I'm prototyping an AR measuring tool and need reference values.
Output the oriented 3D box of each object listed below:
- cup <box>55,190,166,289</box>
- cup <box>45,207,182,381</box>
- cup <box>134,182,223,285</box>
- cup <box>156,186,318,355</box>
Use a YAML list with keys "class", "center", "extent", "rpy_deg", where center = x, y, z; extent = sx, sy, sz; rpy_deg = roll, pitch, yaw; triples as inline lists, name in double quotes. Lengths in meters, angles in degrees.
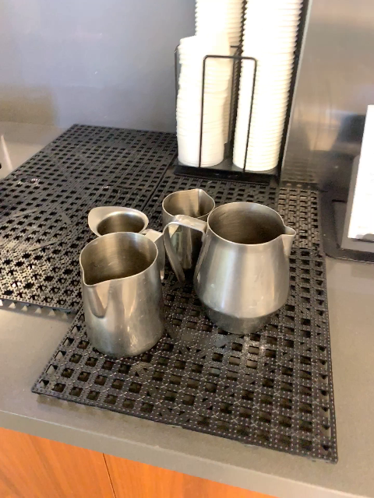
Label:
- class: "cup"
  center: [-0.092, -0.015, 0.482]
  extent: [0.110, 0.070, 0.070]
  rpy_deg: [19, 41, 22]
- class: "cup"
  center: [-0.067, 0.044, 0.411]
  extent: [0.080, 0.119, 0.121]
  rpy_deg: [15, 40, 18]
- class: "cup"
  center: [-0.007, -0.024, 0.494]
  extent: [0.070, 0.070, 0.110]
  rpy_deg: [16, 40, 19]
- class: "cup"
  center: [0.054, 0.018, 0.436]
  extent: [0.140, 0.119, 0.100]
  rpy_deg: [18, 41, 22]
